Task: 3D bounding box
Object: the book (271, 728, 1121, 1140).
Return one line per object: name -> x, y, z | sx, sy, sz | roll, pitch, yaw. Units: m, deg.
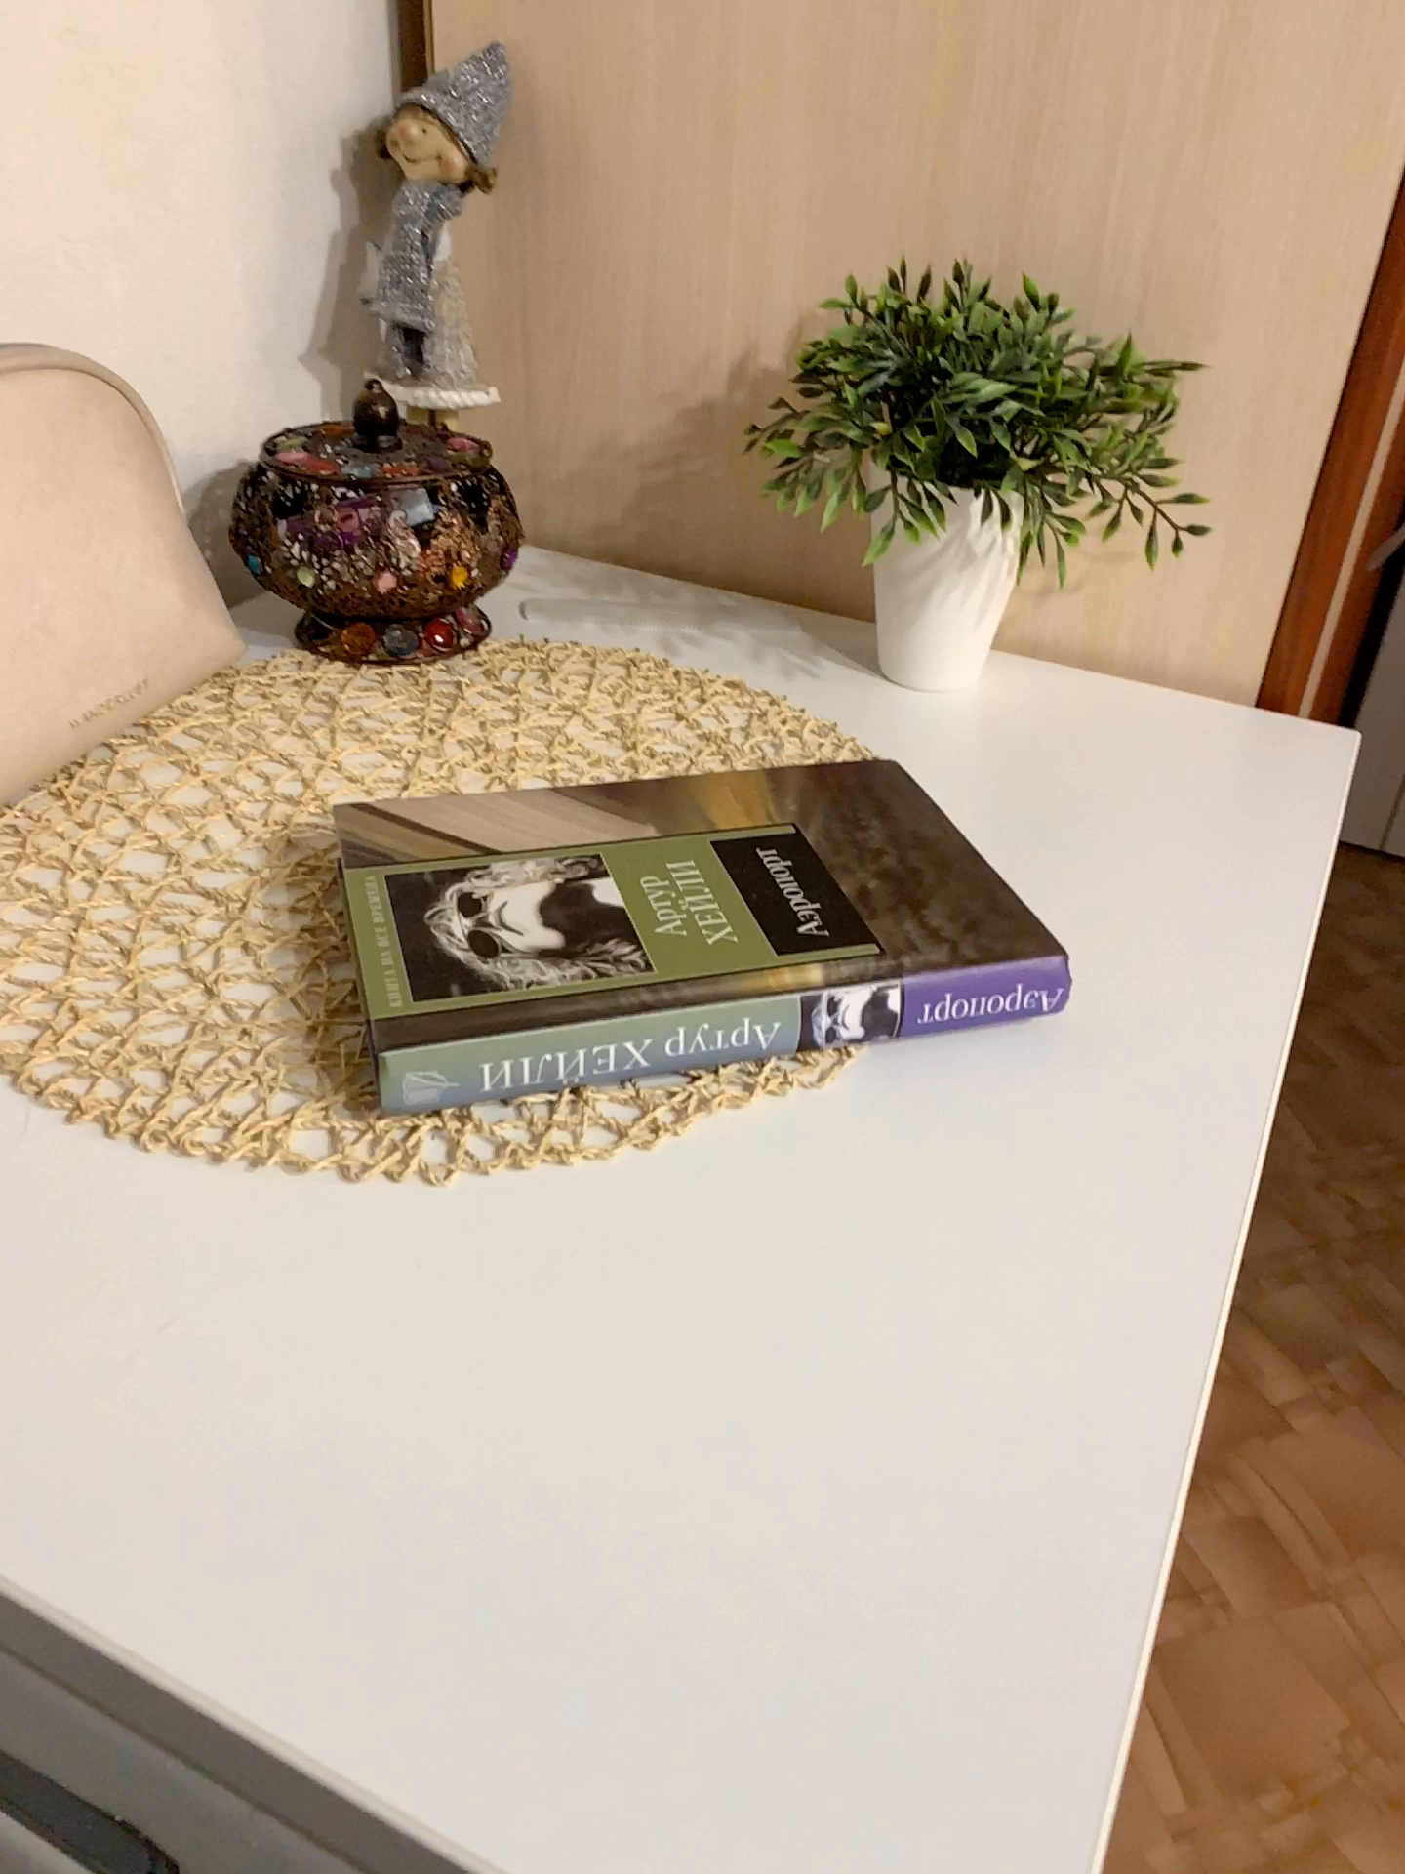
book -> -0.011, -0.013, 0.451 | 0.230, 0.020, 0.151 | -8, 36, -16
